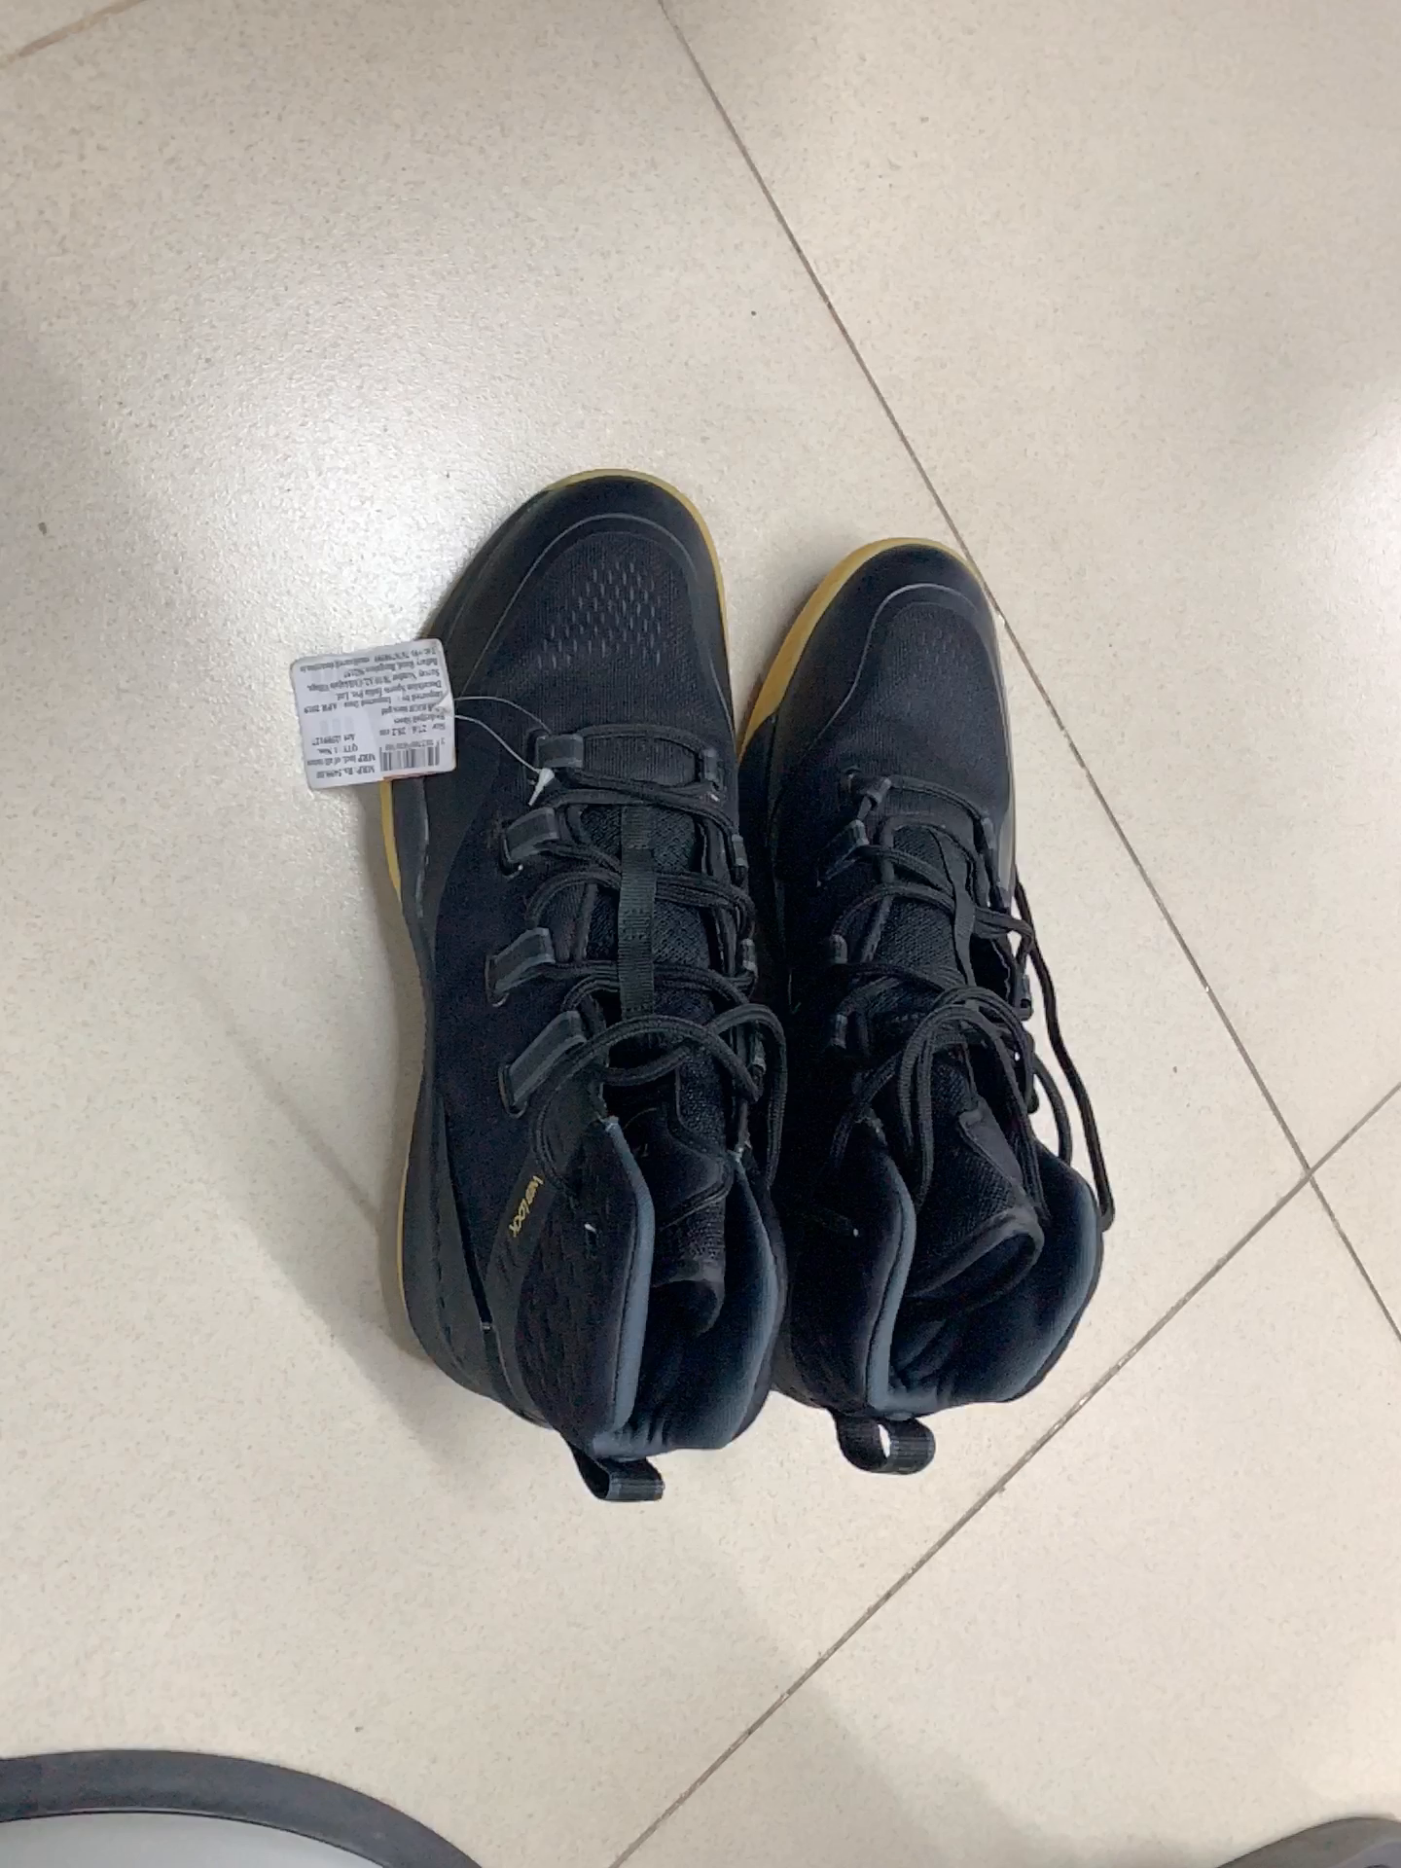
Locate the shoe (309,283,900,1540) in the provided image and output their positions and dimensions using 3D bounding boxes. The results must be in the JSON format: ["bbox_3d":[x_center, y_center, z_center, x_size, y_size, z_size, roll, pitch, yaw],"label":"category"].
[{"bbox_3d":[-0.038,-0.003,0.415,0.110,0.140,0.290,4,91,-21],"label":"shoe"}]

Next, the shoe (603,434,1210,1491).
[{"bbox_3d":[0.061,0.013,0.455,0.110,0.090,0.290,11,89,-21],"label":"shoe"}]
